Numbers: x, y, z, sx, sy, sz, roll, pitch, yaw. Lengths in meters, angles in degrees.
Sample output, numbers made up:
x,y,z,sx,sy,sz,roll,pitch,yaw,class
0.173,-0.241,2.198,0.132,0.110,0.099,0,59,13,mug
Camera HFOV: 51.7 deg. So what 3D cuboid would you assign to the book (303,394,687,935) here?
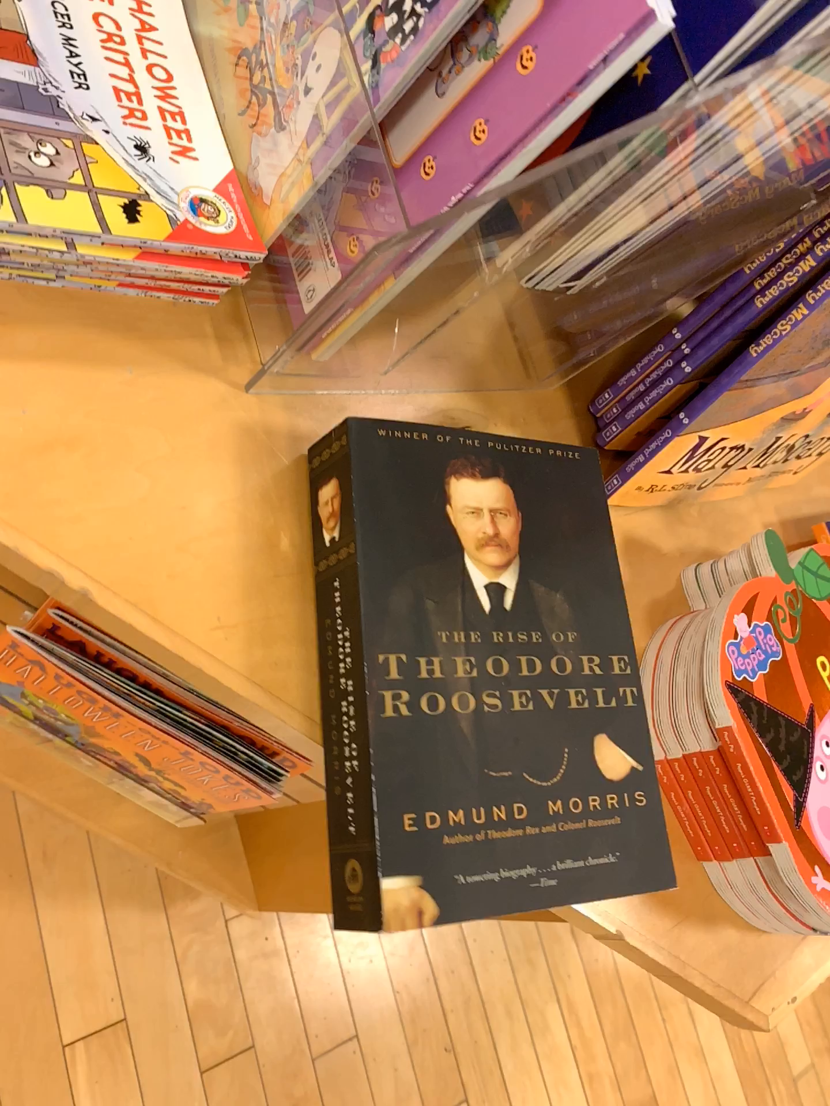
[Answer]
x,y,z,sx,sy,sz,roll,pitch,yaw,class
0.030,0.047,0.366,0.131,0.066,0.195,8,68,-34,book
